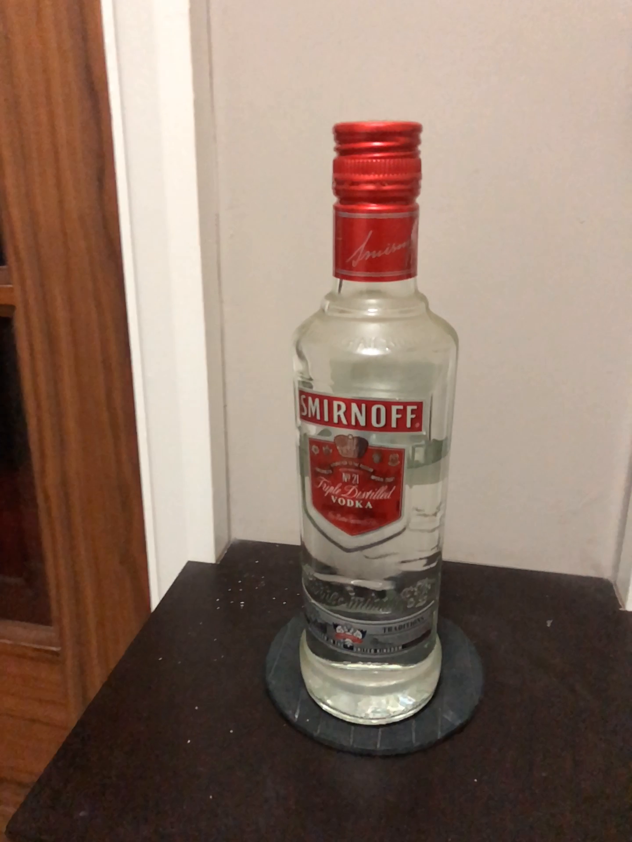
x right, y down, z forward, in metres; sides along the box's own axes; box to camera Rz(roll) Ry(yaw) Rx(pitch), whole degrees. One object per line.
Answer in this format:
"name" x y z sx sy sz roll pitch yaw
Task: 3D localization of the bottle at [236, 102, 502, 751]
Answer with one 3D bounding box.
"bottle" 0.021 0.003 0.264 0.070 0.219 0.070 0 19 0
